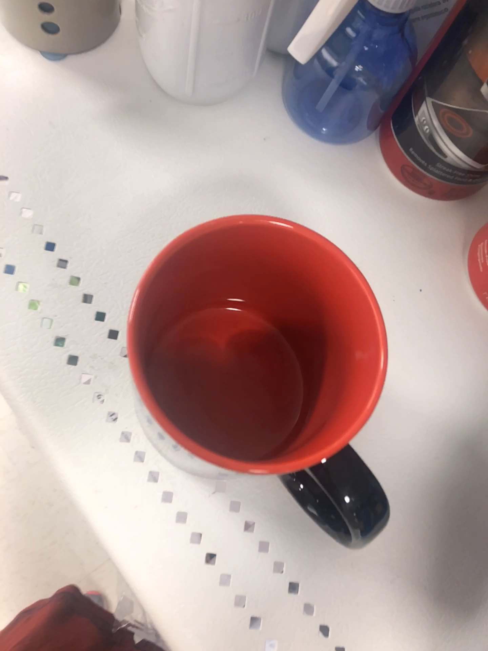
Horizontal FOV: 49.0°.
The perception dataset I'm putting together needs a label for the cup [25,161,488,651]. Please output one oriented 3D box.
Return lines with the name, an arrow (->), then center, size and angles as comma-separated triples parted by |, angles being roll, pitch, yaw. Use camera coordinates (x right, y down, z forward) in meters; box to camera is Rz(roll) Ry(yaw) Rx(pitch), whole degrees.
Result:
cup -> 0.005, 0.035, 0.245 | 0.113, 0.103, 0.147 | -39, 83, -18
